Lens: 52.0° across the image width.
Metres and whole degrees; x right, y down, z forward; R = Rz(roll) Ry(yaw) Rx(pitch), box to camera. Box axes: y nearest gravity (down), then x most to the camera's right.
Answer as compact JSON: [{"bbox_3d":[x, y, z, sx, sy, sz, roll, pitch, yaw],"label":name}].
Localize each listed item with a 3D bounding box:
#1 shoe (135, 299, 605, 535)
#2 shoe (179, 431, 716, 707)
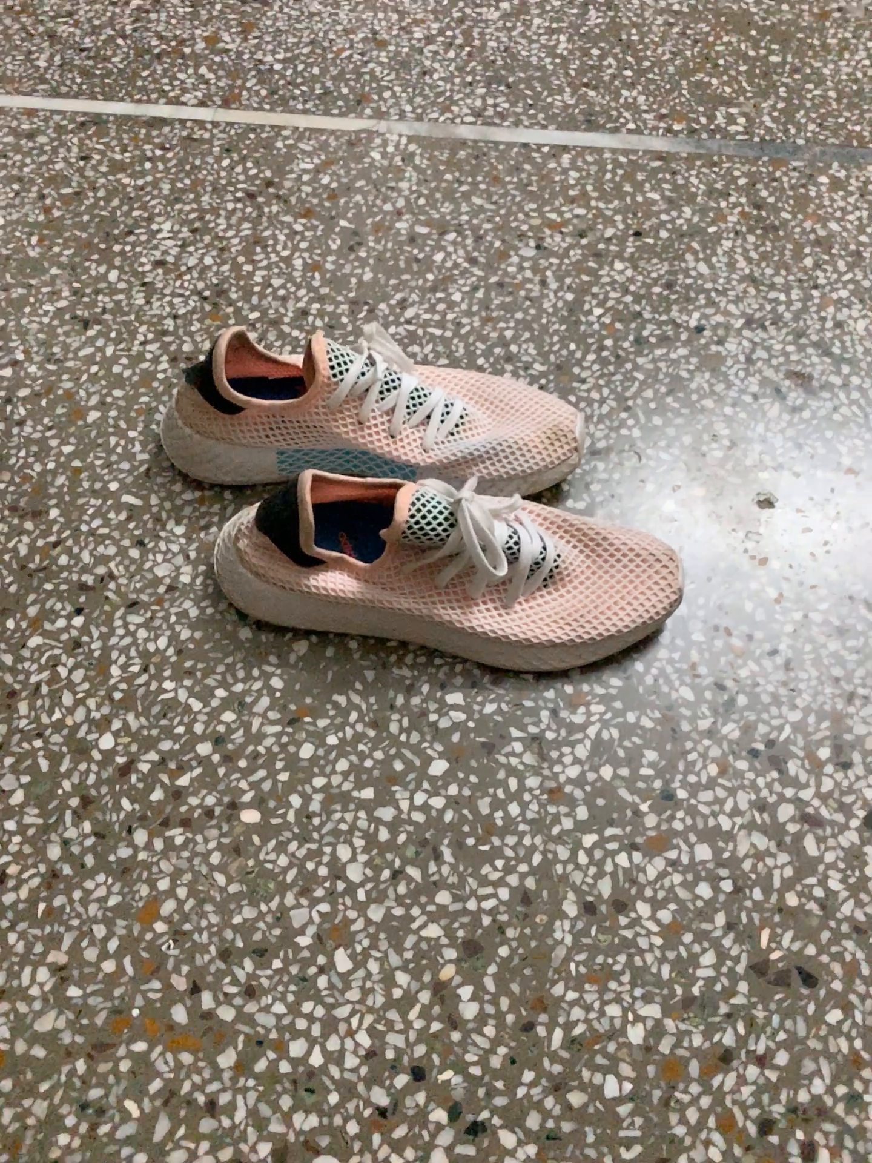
[{"bbox_3d":[-0.042,-0.120,0.660,0.310,0.100,0.122,3,61,1],"label":"shoe"},{"bbox_3d":[0.010,-0.007,0.586,0.310,0.100,0.122,5,62,2],"label":"shoe"}]
